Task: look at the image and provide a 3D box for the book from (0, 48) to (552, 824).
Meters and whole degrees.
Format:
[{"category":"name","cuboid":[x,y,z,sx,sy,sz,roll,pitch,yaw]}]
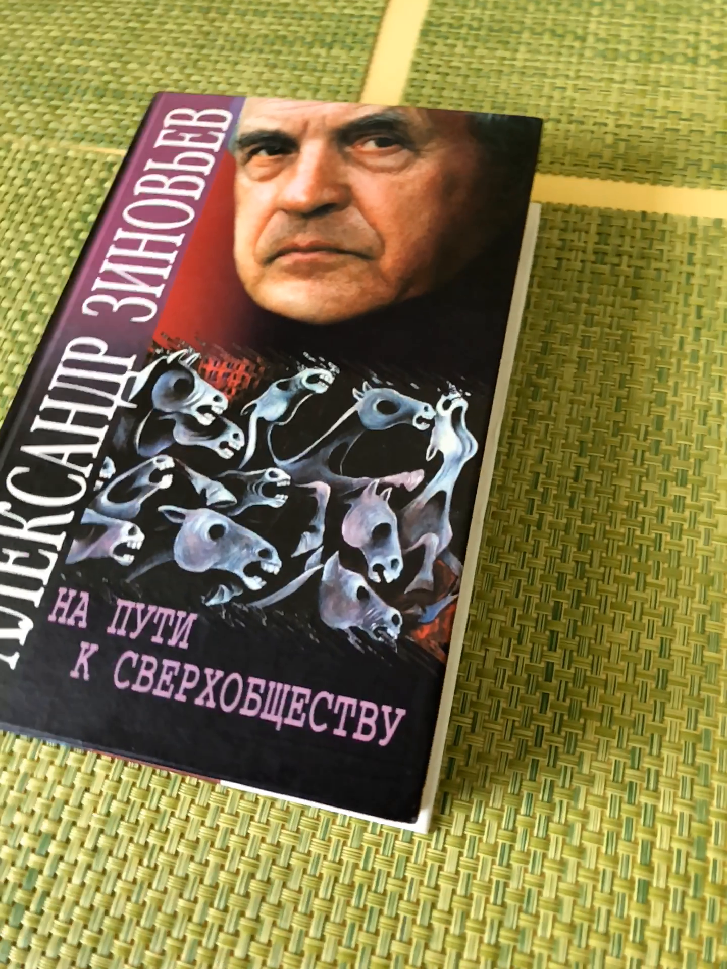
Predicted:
[{"category":"book","cuboid":[-0.038,-0.030,0.224,0.150,0.040,0.201,9,66,10]}]
